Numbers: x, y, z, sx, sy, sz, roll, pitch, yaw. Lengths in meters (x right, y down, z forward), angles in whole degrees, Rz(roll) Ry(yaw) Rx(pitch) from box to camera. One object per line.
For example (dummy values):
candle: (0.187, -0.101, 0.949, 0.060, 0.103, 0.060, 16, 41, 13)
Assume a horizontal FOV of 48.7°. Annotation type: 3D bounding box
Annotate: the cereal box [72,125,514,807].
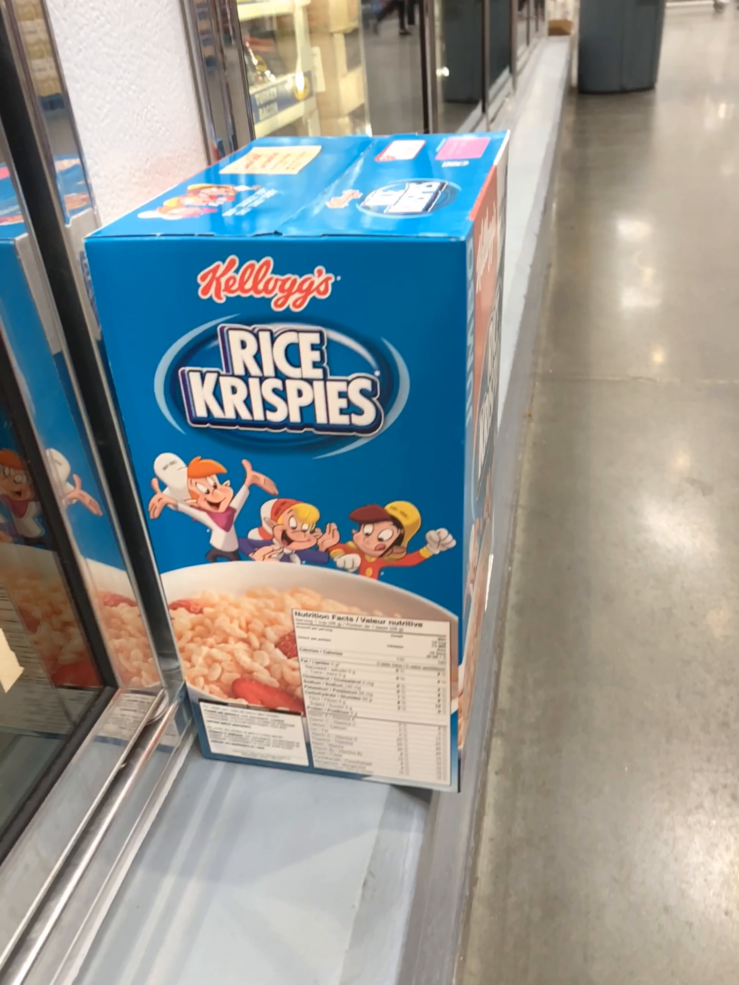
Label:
cereal box: (-0.010, -0.029, 0.490, 0.160, 0.319, 0.241, 4, 32, 11)
